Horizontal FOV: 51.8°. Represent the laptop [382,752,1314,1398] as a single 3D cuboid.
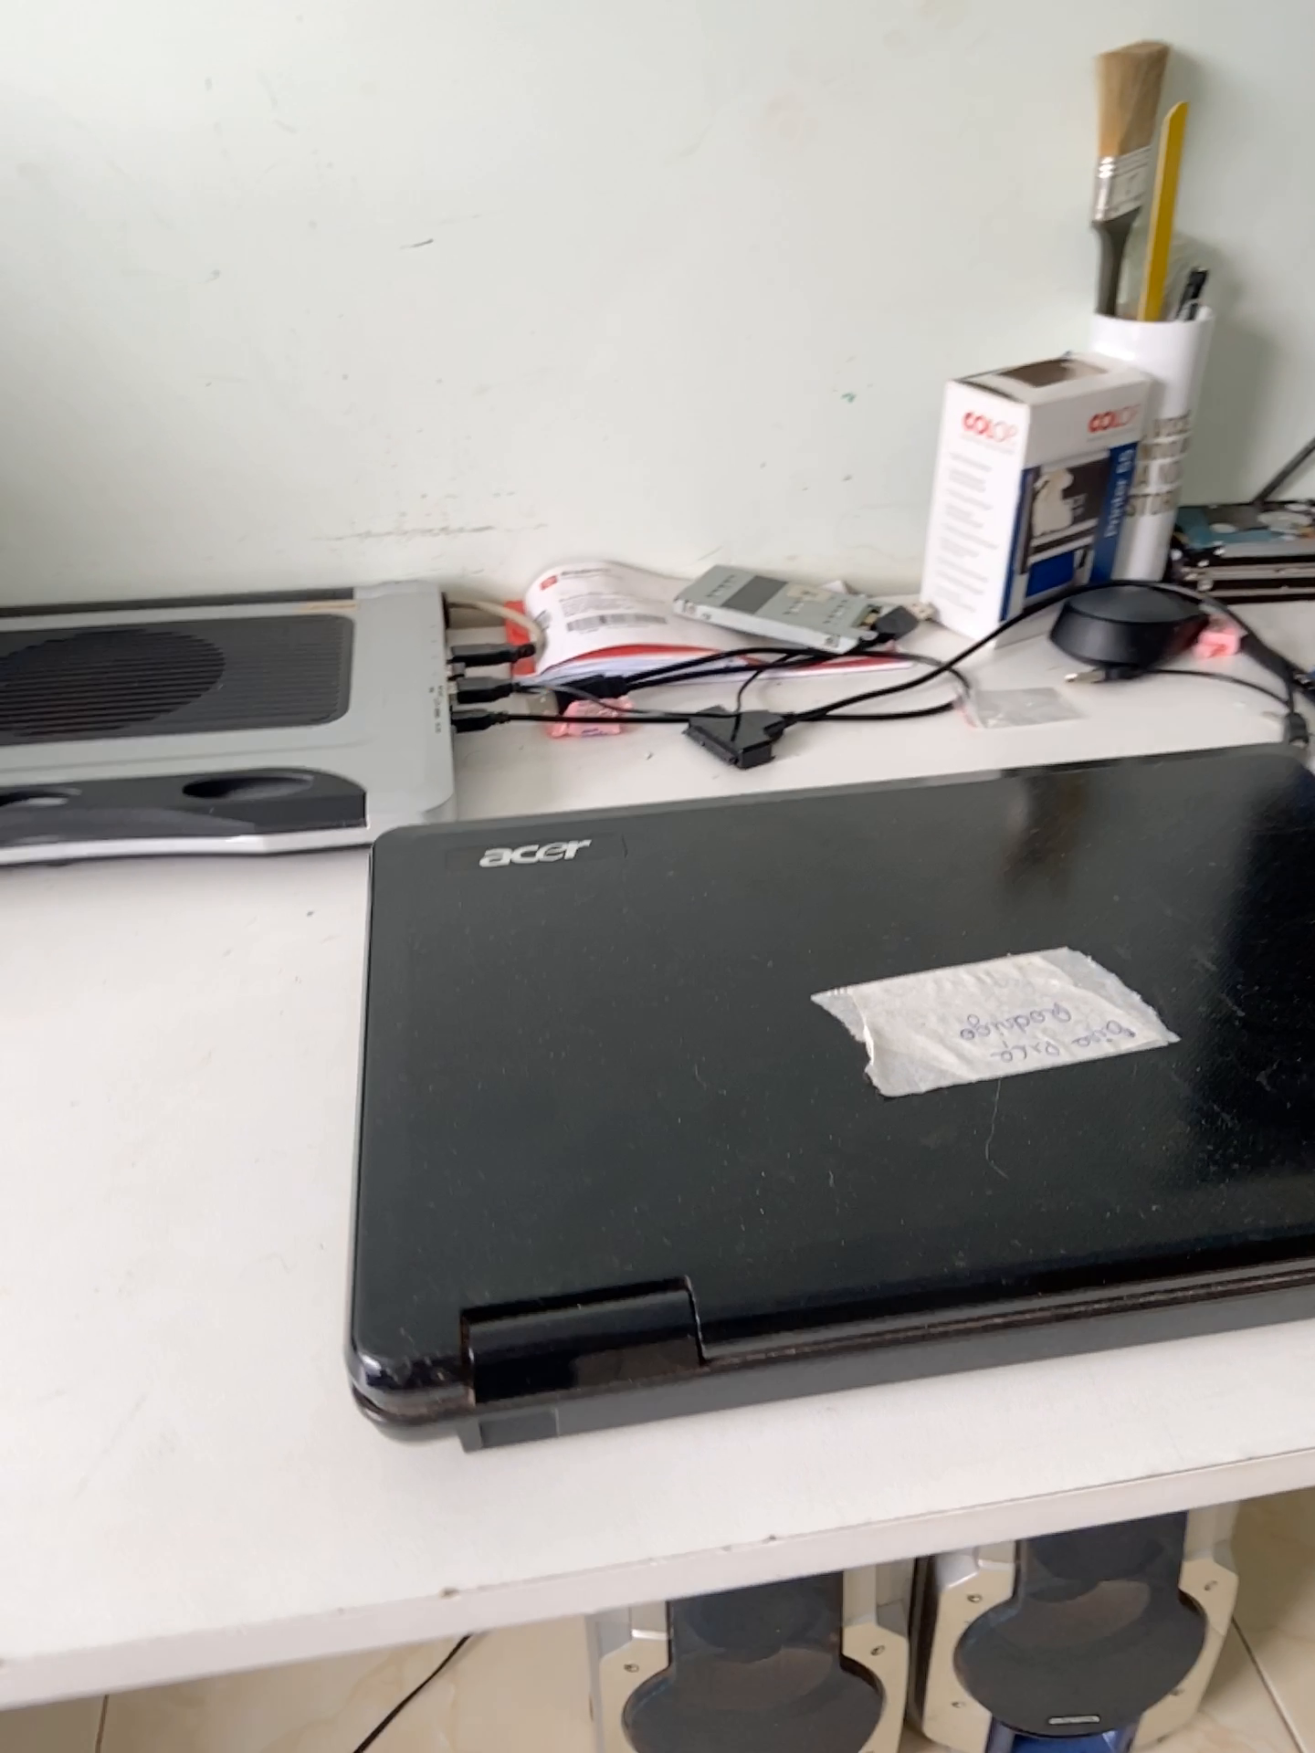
[{"bbox_3d":[0.098,0.033,0.418,0.356,0.005,0.240,-6,32,-7],"label":"laptop"}]
